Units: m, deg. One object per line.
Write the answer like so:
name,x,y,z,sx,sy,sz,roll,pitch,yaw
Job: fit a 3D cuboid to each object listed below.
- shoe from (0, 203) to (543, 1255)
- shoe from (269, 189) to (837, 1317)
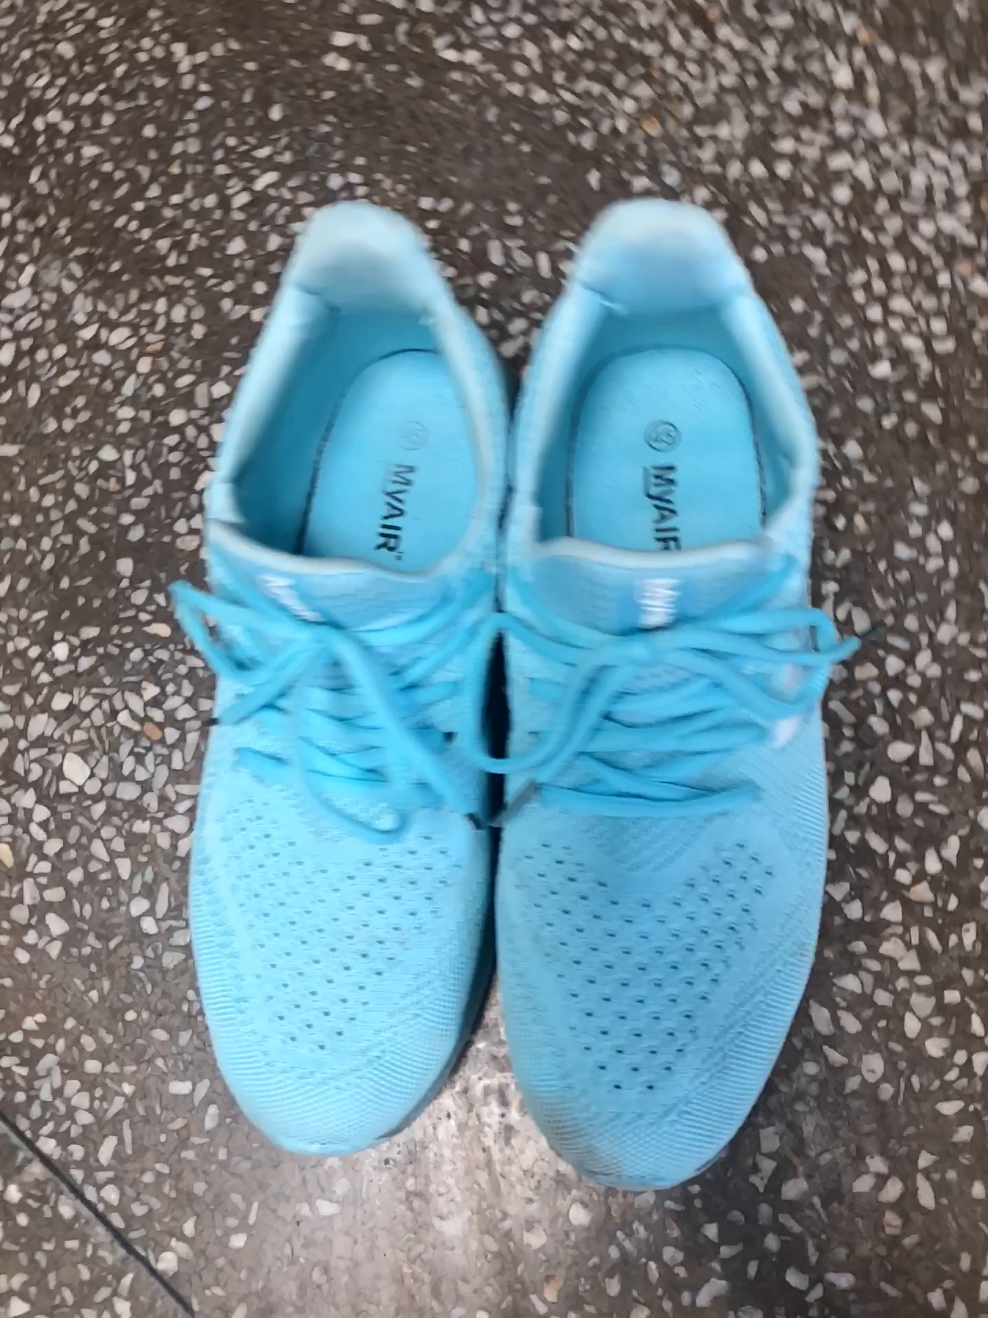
shoe,-0.066,0.014,0.350,0.120,0.126,0.271,5,78,10
shoe,0.029,0.019,0.332,0.120,0.126,0.271,3,78,10
